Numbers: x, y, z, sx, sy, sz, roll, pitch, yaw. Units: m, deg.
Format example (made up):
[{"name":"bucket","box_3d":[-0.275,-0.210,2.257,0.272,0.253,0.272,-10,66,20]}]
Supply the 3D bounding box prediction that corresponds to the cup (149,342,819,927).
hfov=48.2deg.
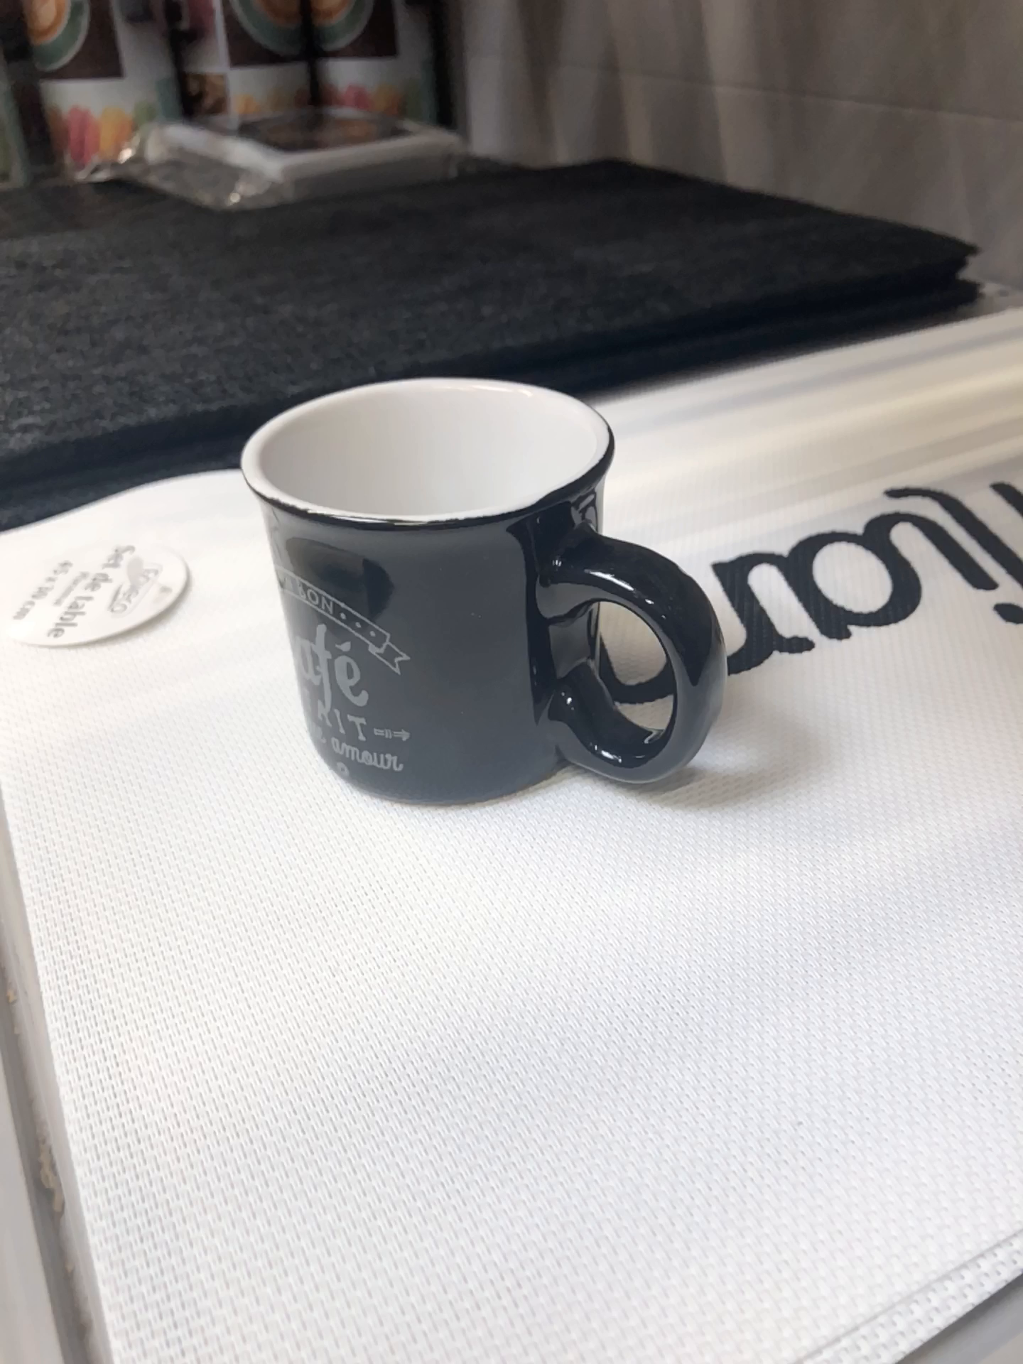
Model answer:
[{"name":"cup","box_3d":[-0.005,-0.018,0.229,0.100,0.064,0.075,24,42,35]}]
